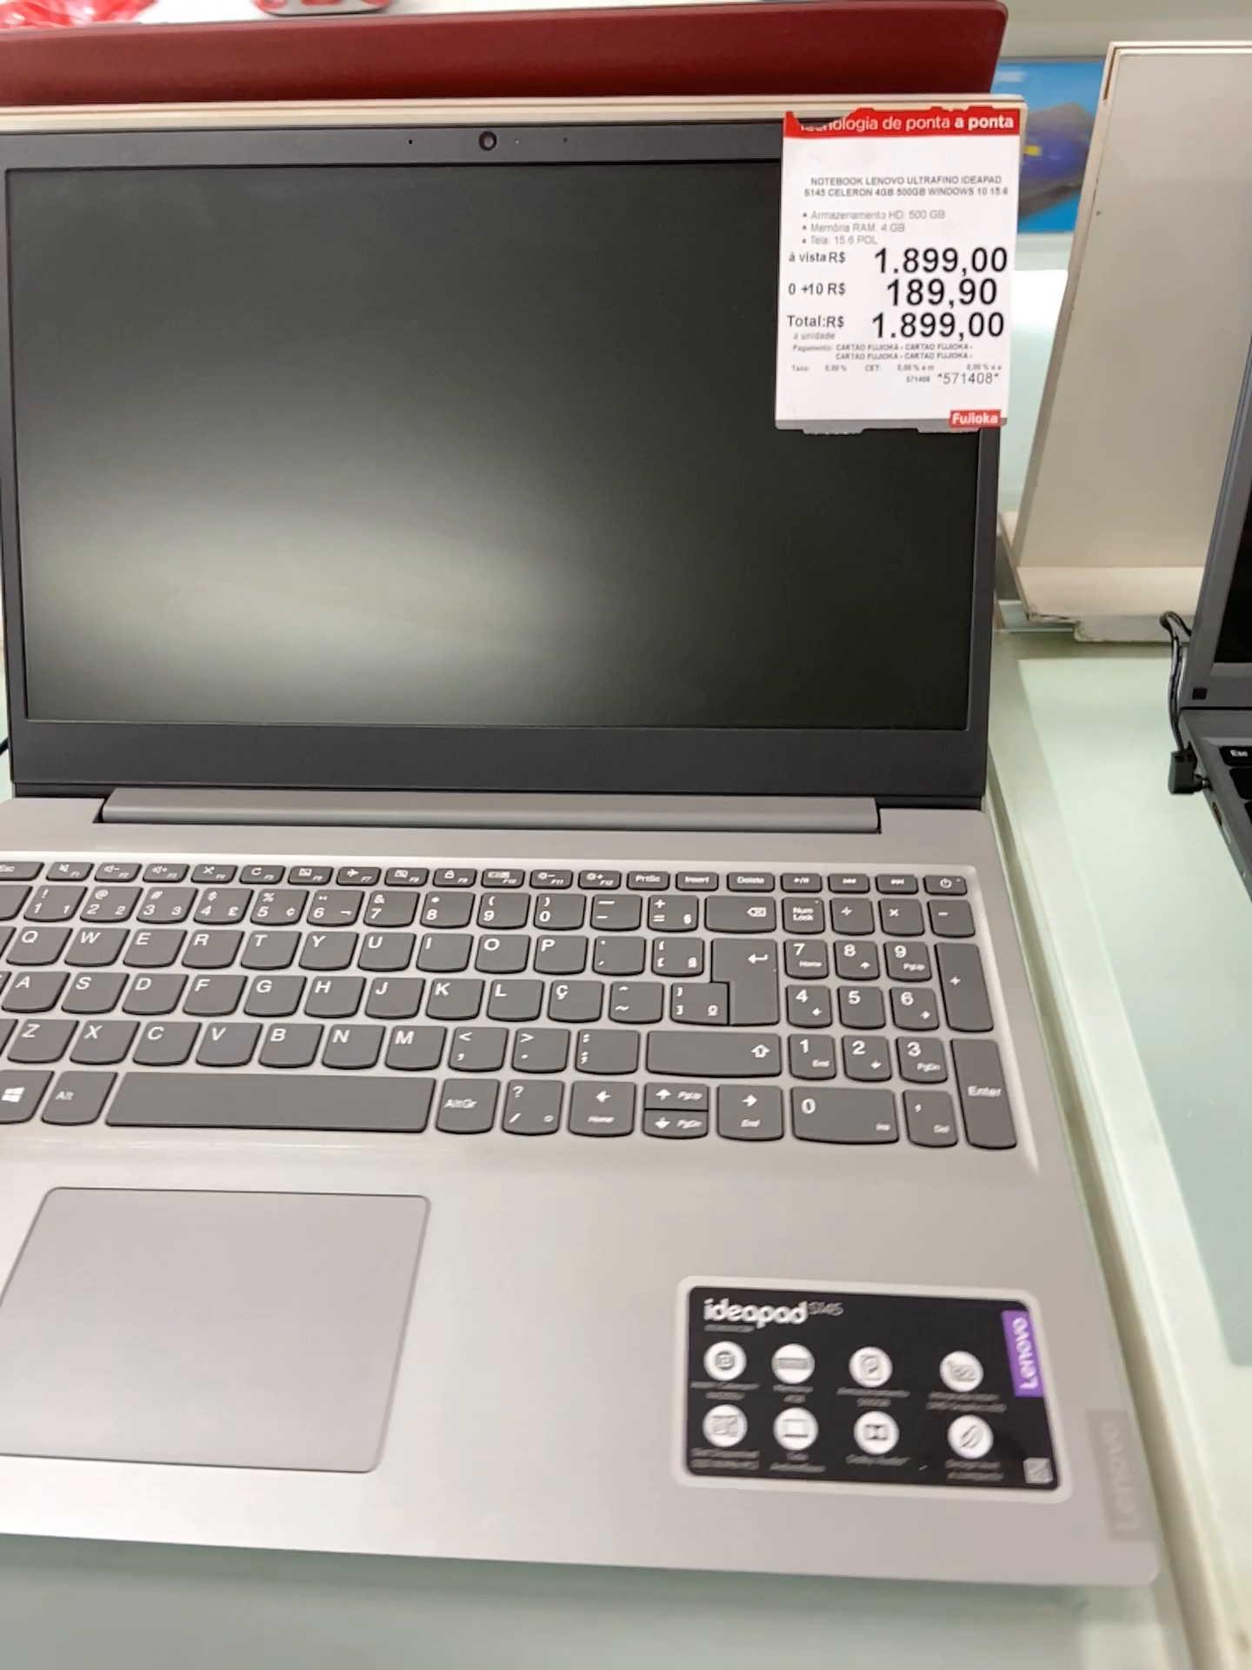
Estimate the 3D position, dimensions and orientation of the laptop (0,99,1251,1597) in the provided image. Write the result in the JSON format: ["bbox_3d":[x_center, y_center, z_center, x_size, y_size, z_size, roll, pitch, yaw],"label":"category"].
[{"bbox_3d":[-0.058,-0.047,0.373,0.366,0.189,0.404,1,43,4],"label":"laptop"}]
